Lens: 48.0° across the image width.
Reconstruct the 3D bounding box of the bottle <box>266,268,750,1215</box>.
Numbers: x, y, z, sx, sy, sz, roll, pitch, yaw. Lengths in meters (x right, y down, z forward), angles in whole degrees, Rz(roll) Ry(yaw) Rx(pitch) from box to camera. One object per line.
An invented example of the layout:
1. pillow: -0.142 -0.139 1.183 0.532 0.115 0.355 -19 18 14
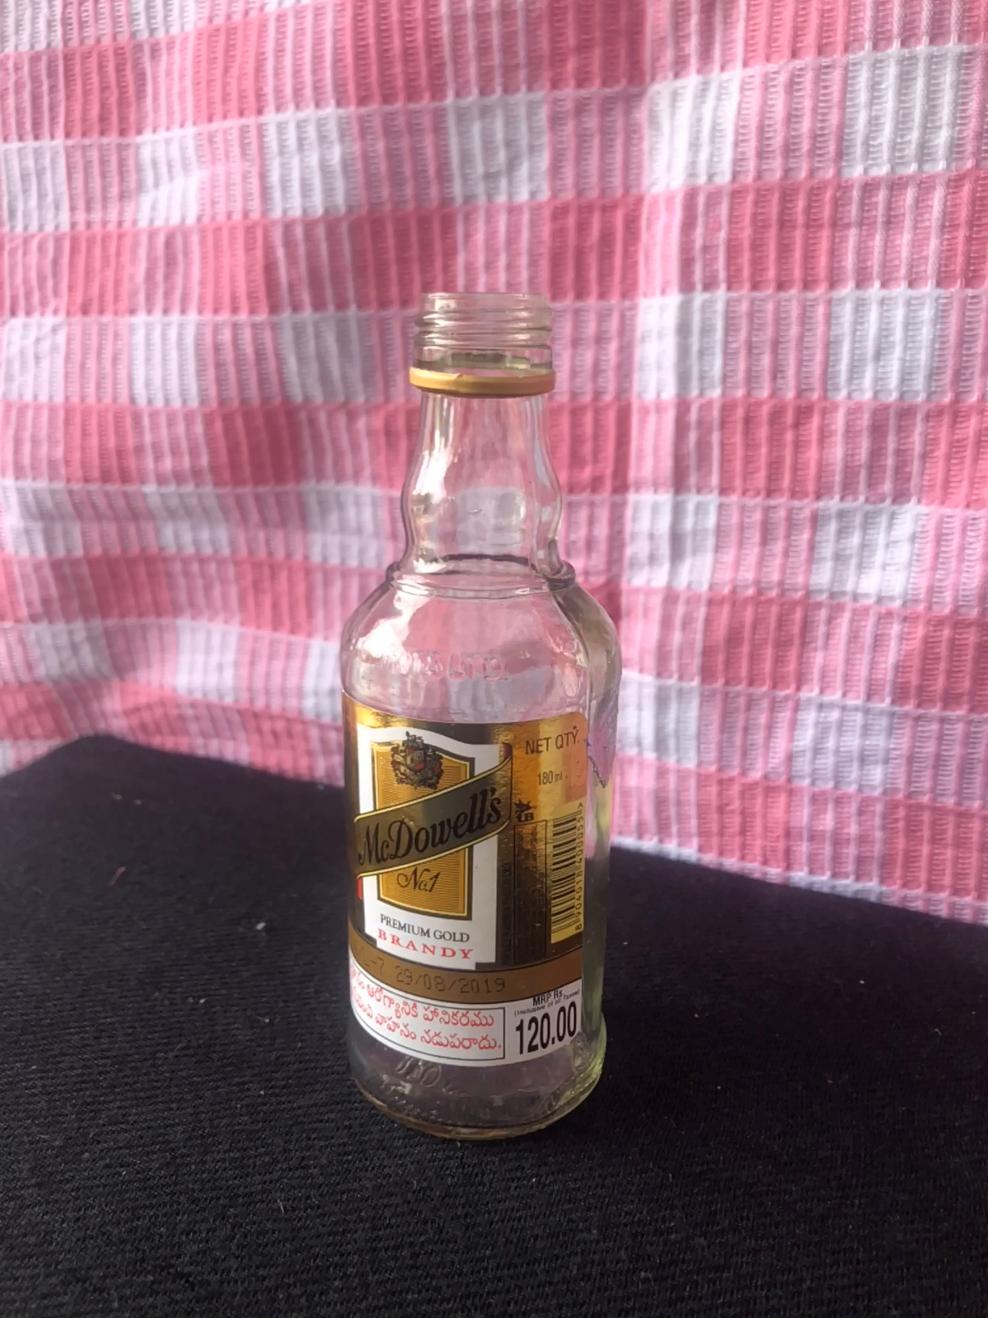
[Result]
1. bottle: 0.002 0.011 0.198 0.060 0.149 0.050 11 20 26
